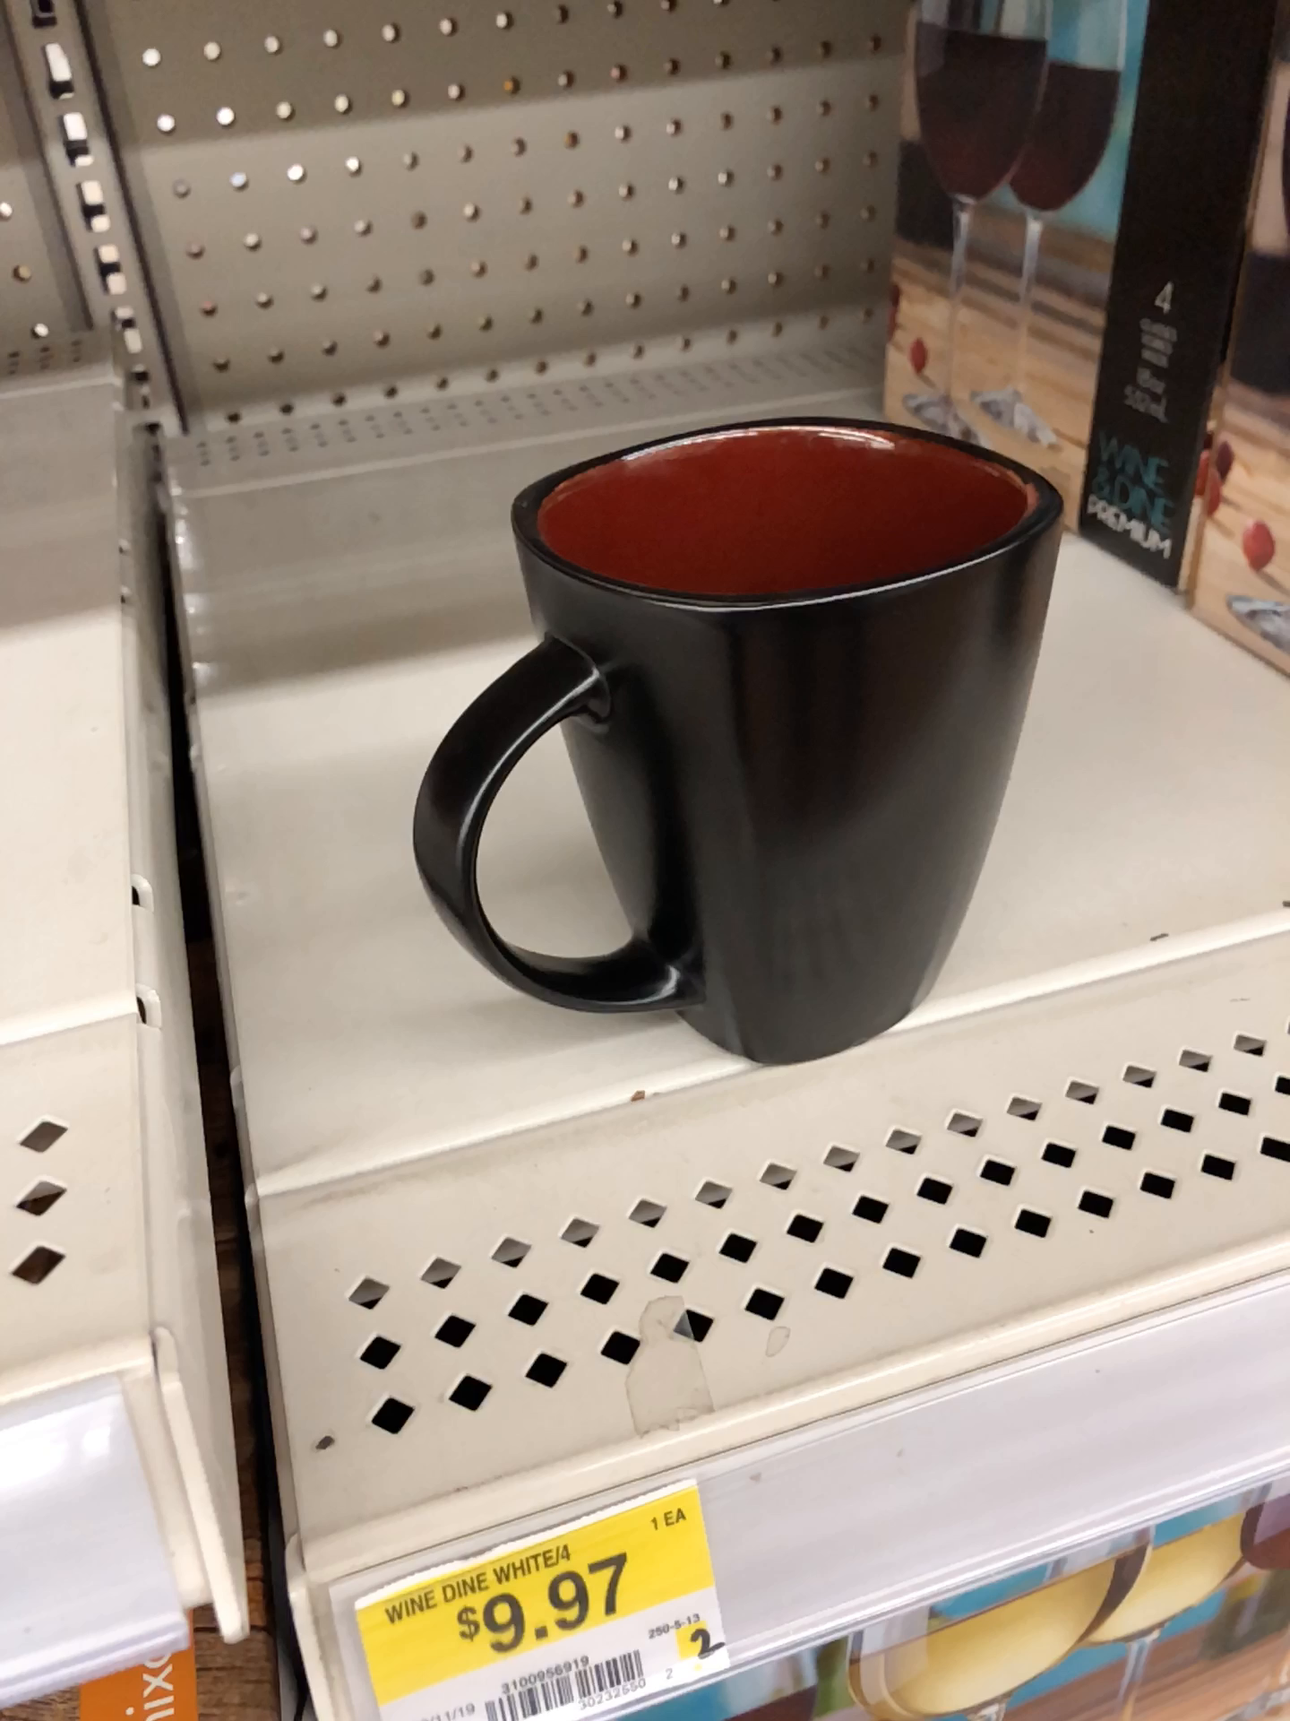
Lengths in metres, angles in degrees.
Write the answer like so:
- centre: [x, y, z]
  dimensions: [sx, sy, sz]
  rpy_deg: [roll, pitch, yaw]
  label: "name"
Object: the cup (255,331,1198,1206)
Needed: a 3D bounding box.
- centre: [0.015, -0.026, 0.270]
  dimensions: [0.130, 0.100, 0.090]
  rpy_deg: [-21, 38, -23]
  label: "cup"
